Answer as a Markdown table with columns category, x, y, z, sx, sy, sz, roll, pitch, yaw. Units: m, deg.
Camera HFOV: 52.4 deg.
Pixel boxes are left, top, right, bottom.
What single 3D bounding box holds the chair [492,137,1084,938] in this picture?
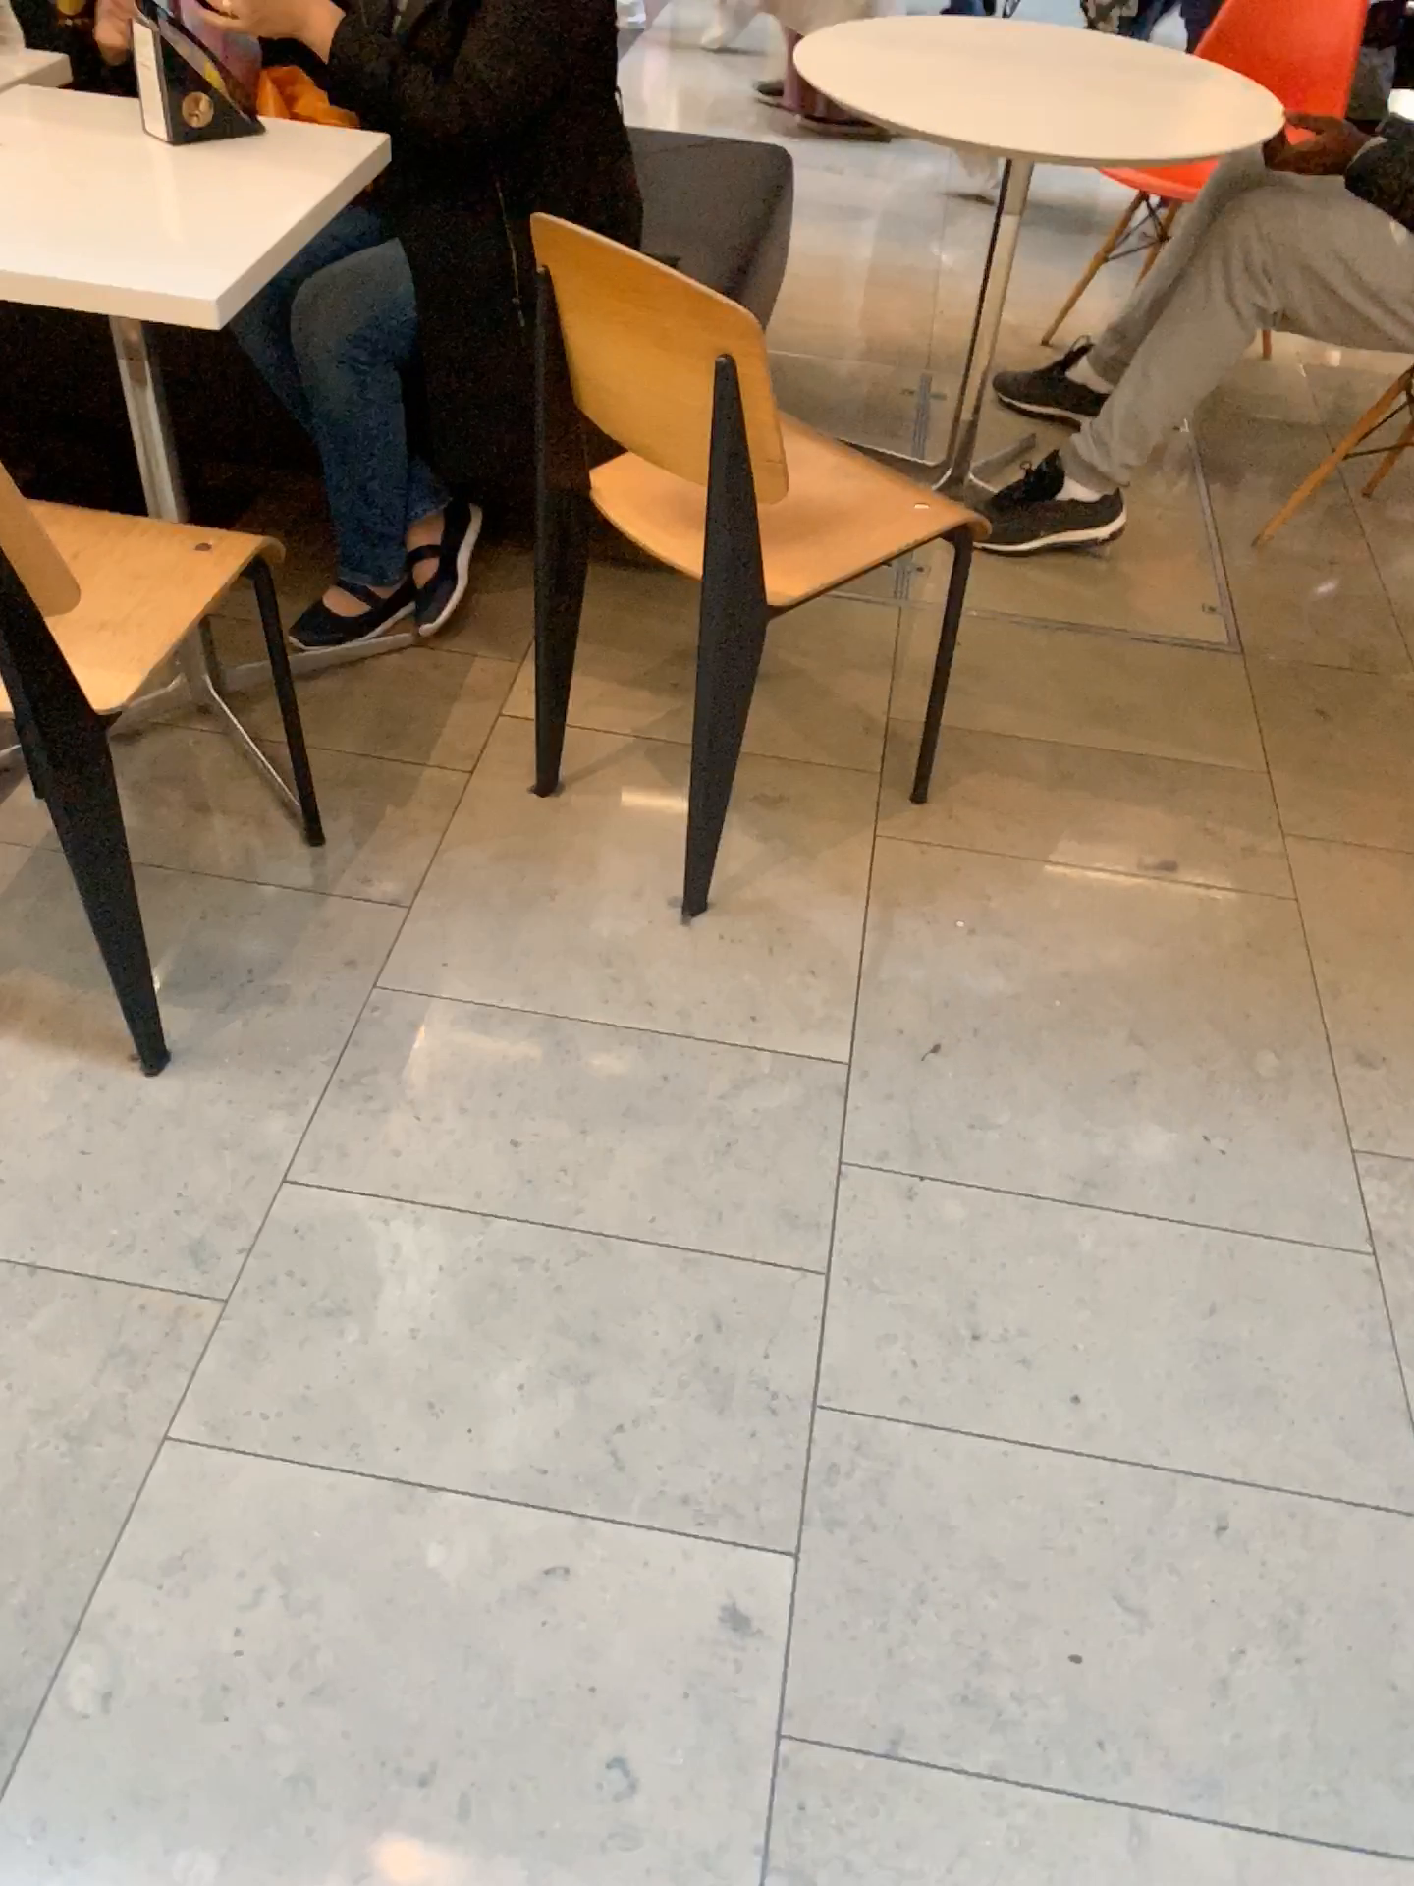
| category | x | y | z | sx | sy | sz | roll | pitch | yaw |
| --- | --- | --- | --- | --- | --- | --- | --- | --- | --- |
| chair | 0.065 | -0.505 | 1.820 | 0.497 | 0.767 | 0.419 | -31 | 54 | -32 |

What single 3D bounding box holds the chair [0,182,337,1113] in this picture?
| category | x | y | z | sx | sy | sz | roll | pitch | yaw |
| --- | --- | --- | --- | --- | --- | --- | --- | --- | --- |
| chair | -0.726 | -0.292 | 1.528 | 0.427 | 0.767 | 0.499 | 10 | 44 | 4 |
